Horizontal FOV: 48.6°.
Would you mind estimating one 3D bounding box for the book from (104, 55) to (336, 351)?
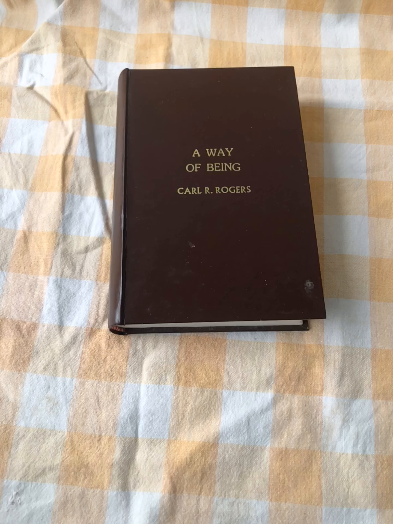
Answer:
[{"bbox_3d":[0.010,-0.047,0.325,0.140,0.060,0.210,-2,71,-1],"label":"book"}]
